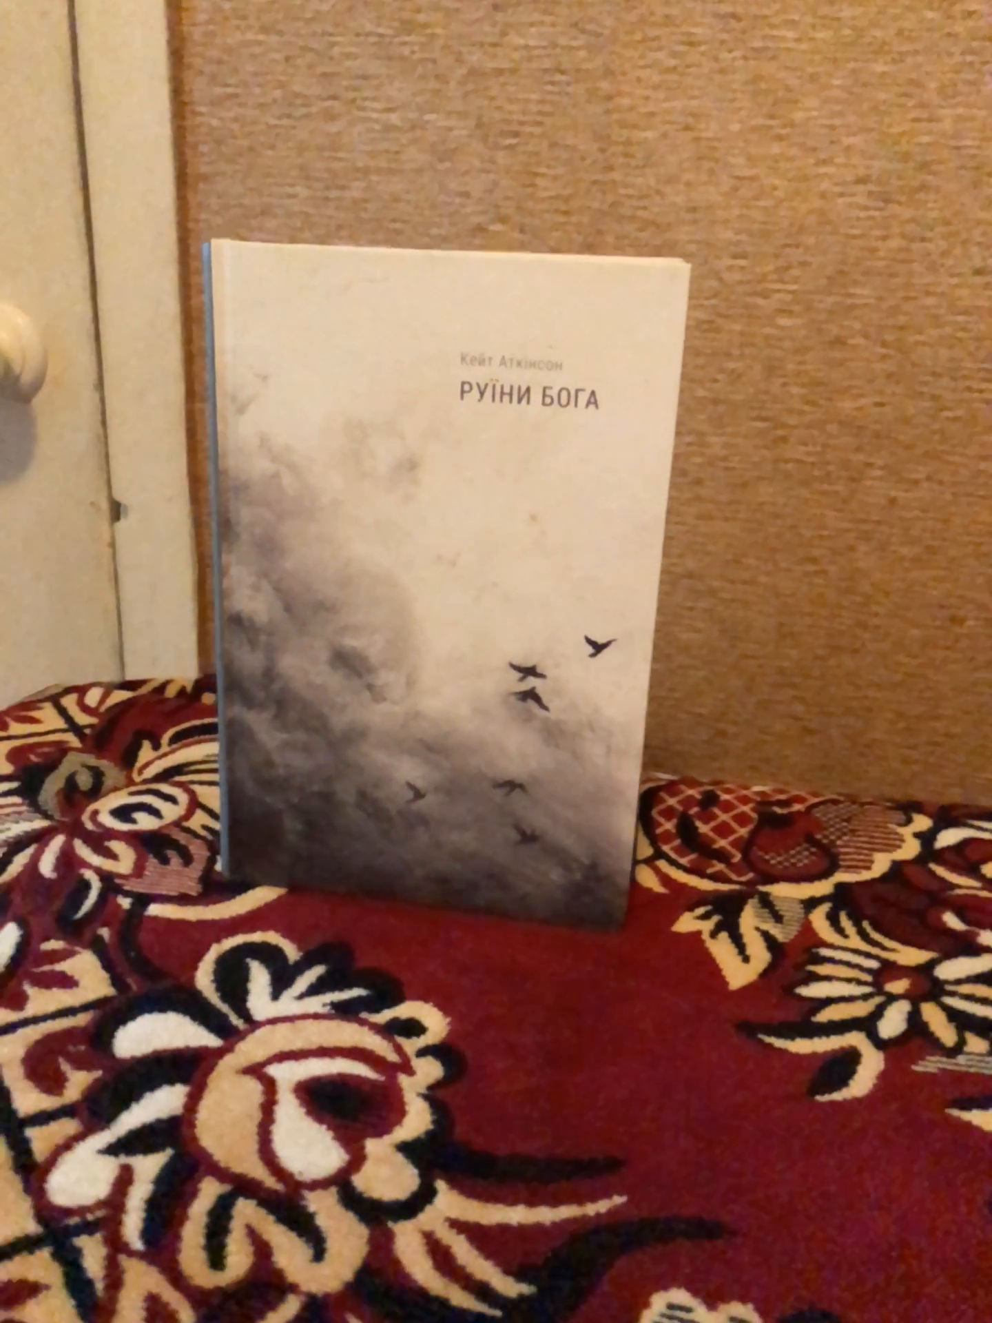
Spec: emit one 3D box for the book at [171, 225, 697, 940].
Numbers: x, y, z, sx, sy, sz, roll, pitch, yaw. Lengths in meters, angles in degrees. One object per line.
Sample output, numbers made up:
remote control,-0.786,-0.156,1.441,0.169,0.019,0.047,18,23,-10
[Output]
book,-0.023,-0.024,0.355,0.150,0.210,0.040,7,18,9
